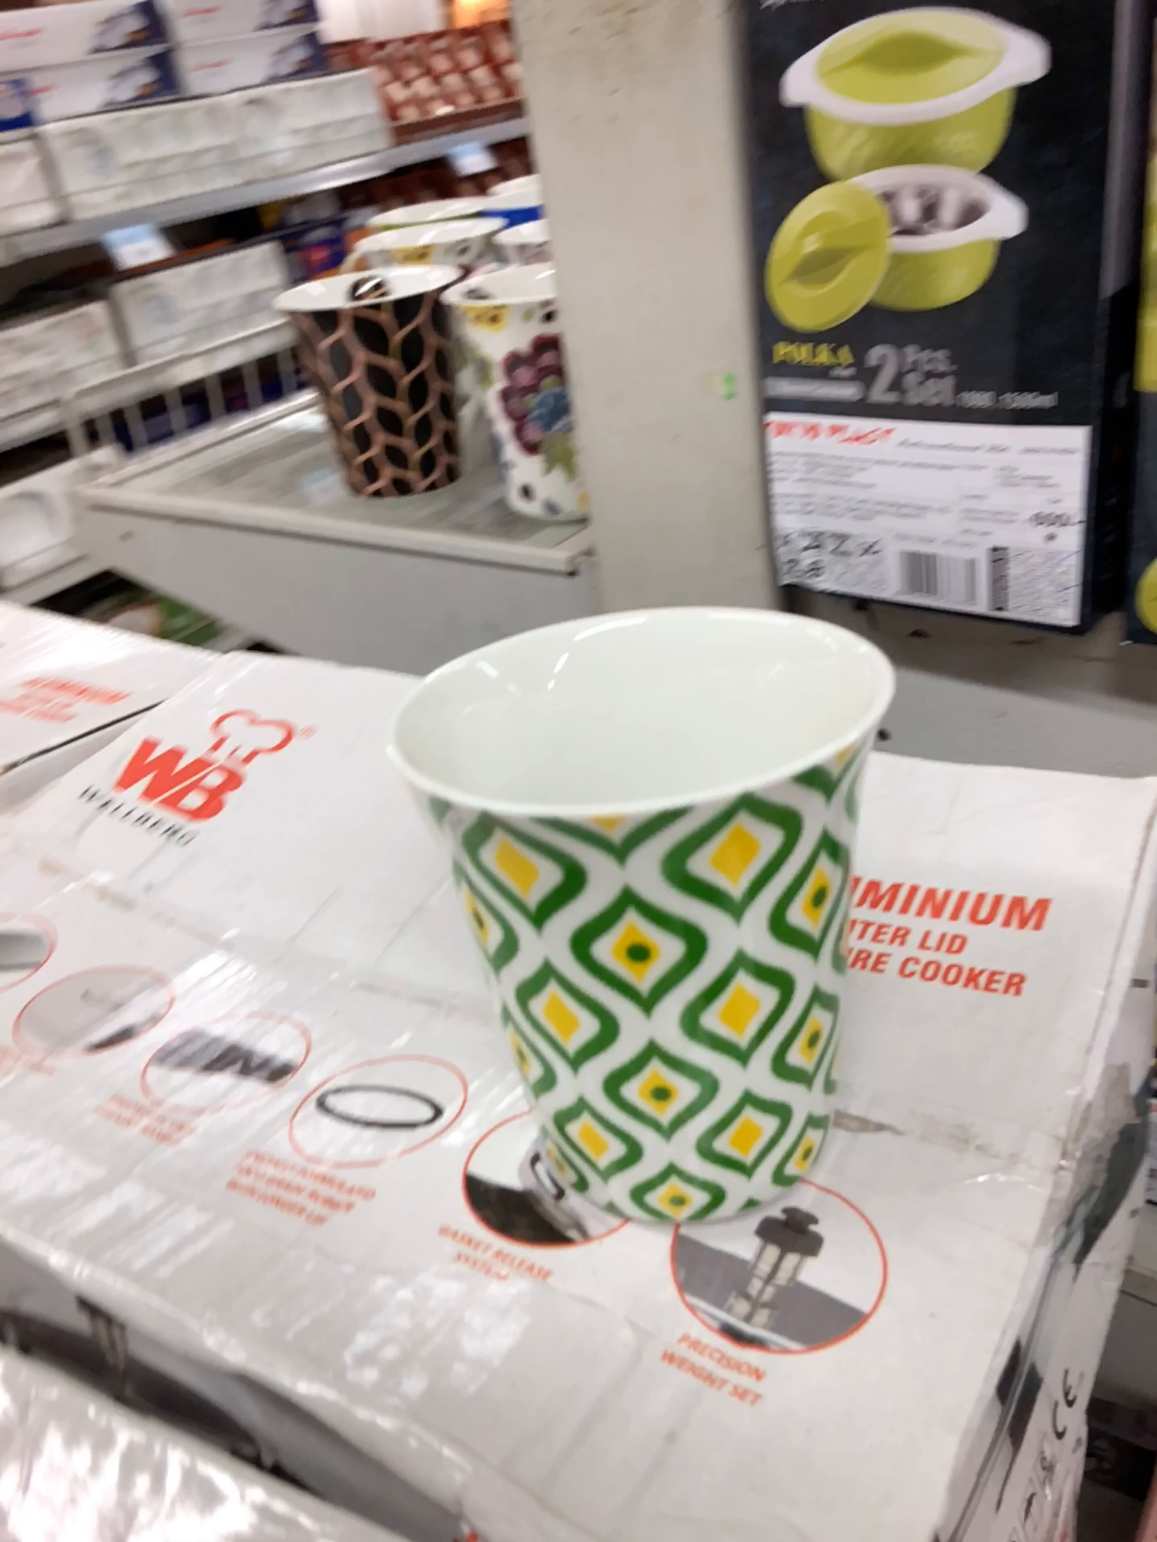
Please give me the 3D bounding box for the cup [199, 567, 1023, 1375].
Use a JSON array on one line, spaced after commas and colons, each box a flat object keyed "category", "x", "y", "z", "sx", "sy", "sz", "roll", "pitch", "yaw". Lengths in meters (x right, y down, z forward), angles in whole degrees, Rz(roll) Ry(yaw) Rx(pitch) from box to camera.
[{"category": "cup", "x": 0.011, "y": 0.023, "z": 0.238, "sx": 0.110, "sy": 0.089, "sz": 0.091, "roll": 11, "pitch": 30, "yaw": 33}]
